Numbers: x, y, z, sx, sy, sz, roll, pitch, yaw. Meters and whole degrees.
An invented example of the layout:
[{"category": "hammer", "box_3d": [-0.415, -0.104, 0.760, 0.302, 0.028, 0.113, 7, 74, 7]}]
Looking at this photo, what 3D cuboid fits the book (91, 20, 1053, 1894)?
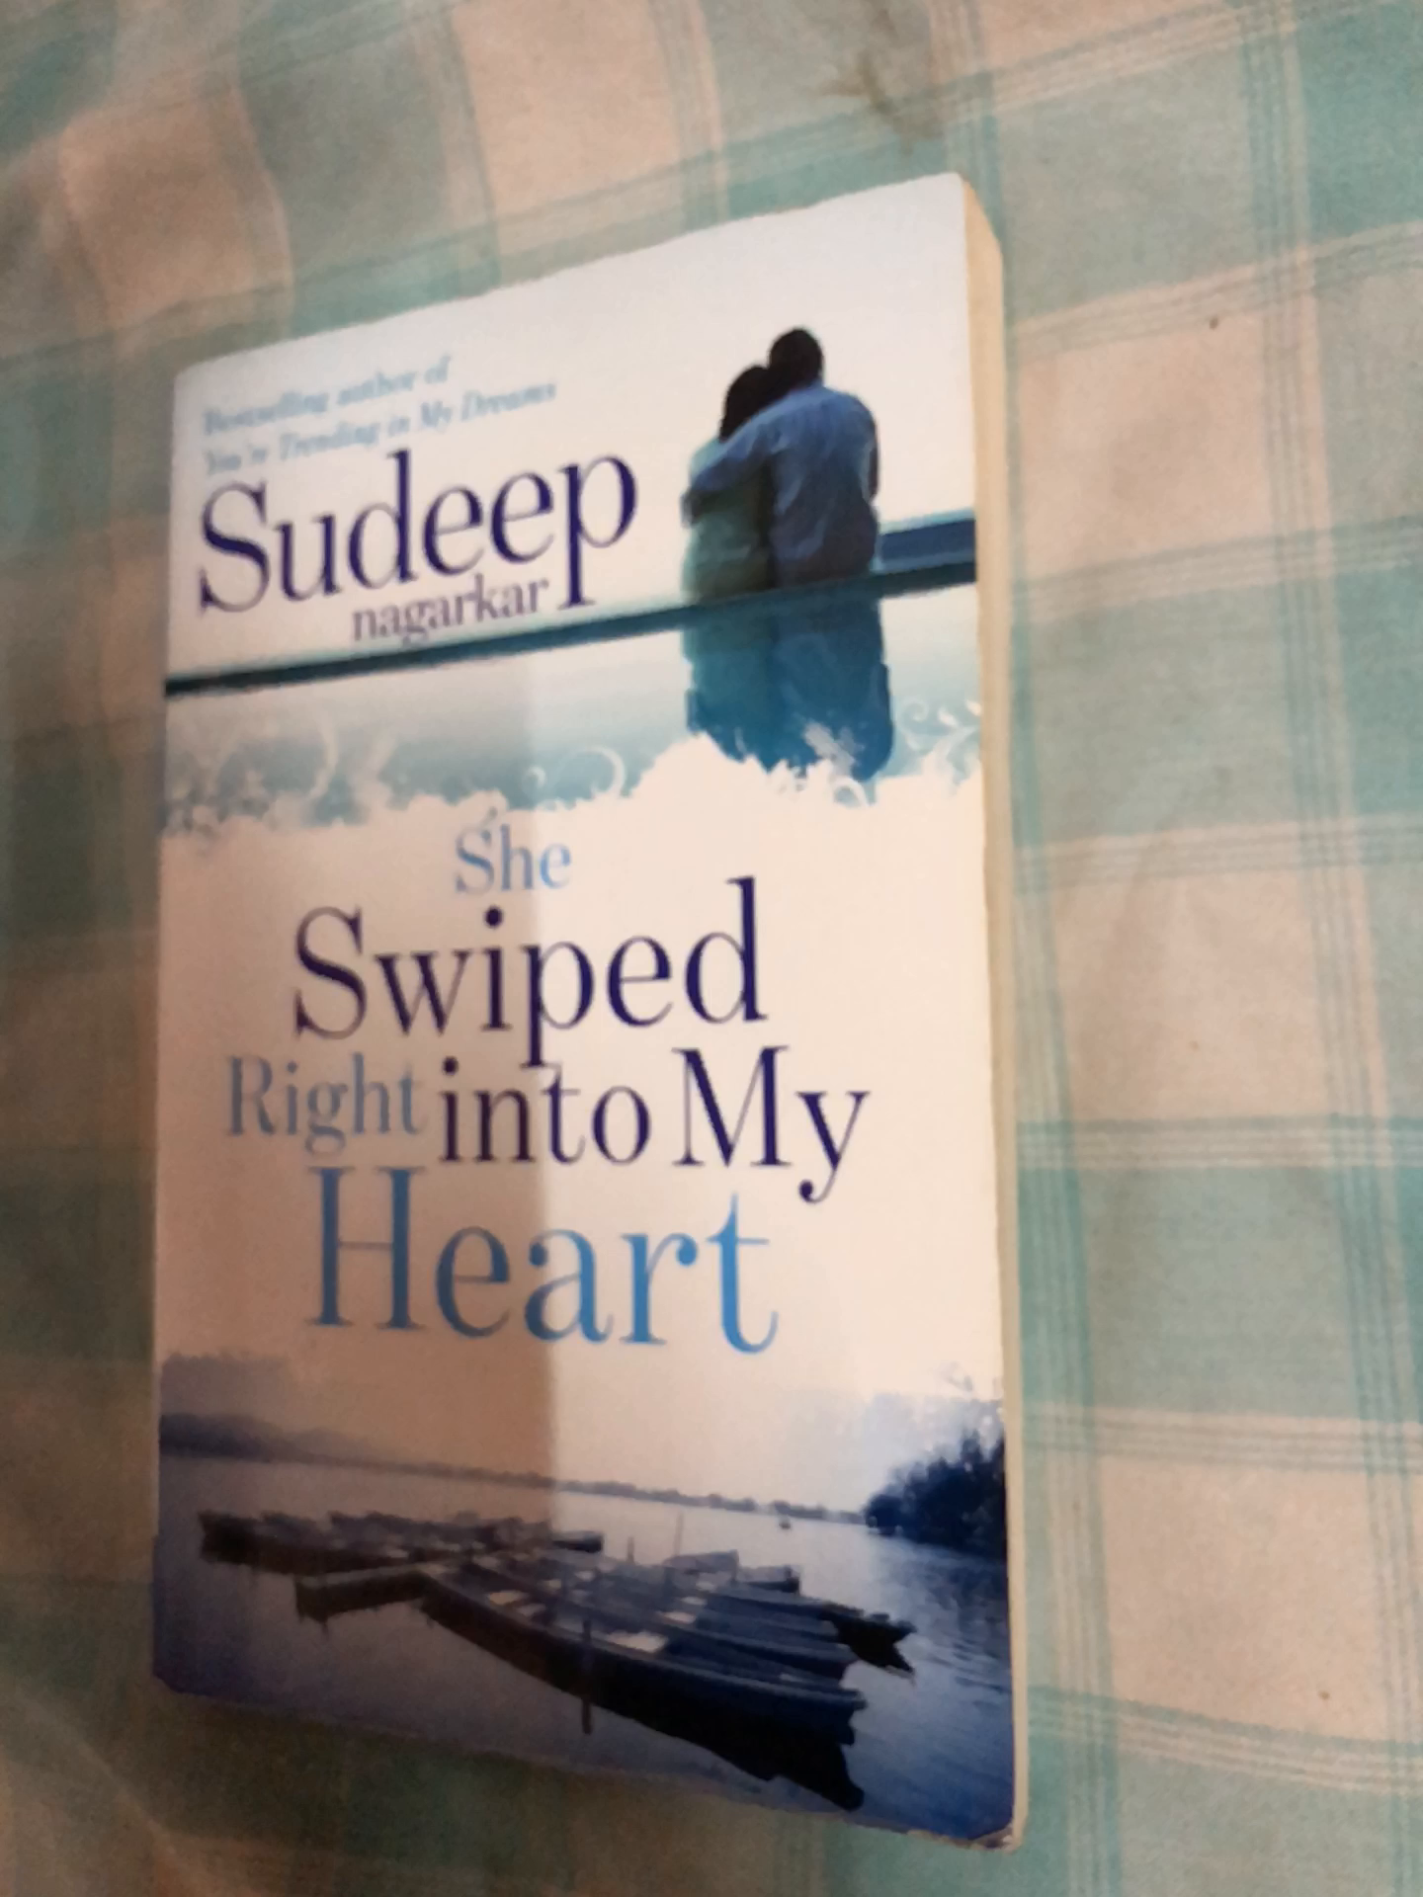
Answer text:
[{"category": "book", "box_3d": [-0.024, 0.000, 0.222, 0.130, 0.030, 0.210, -2, 86, 25]}]
